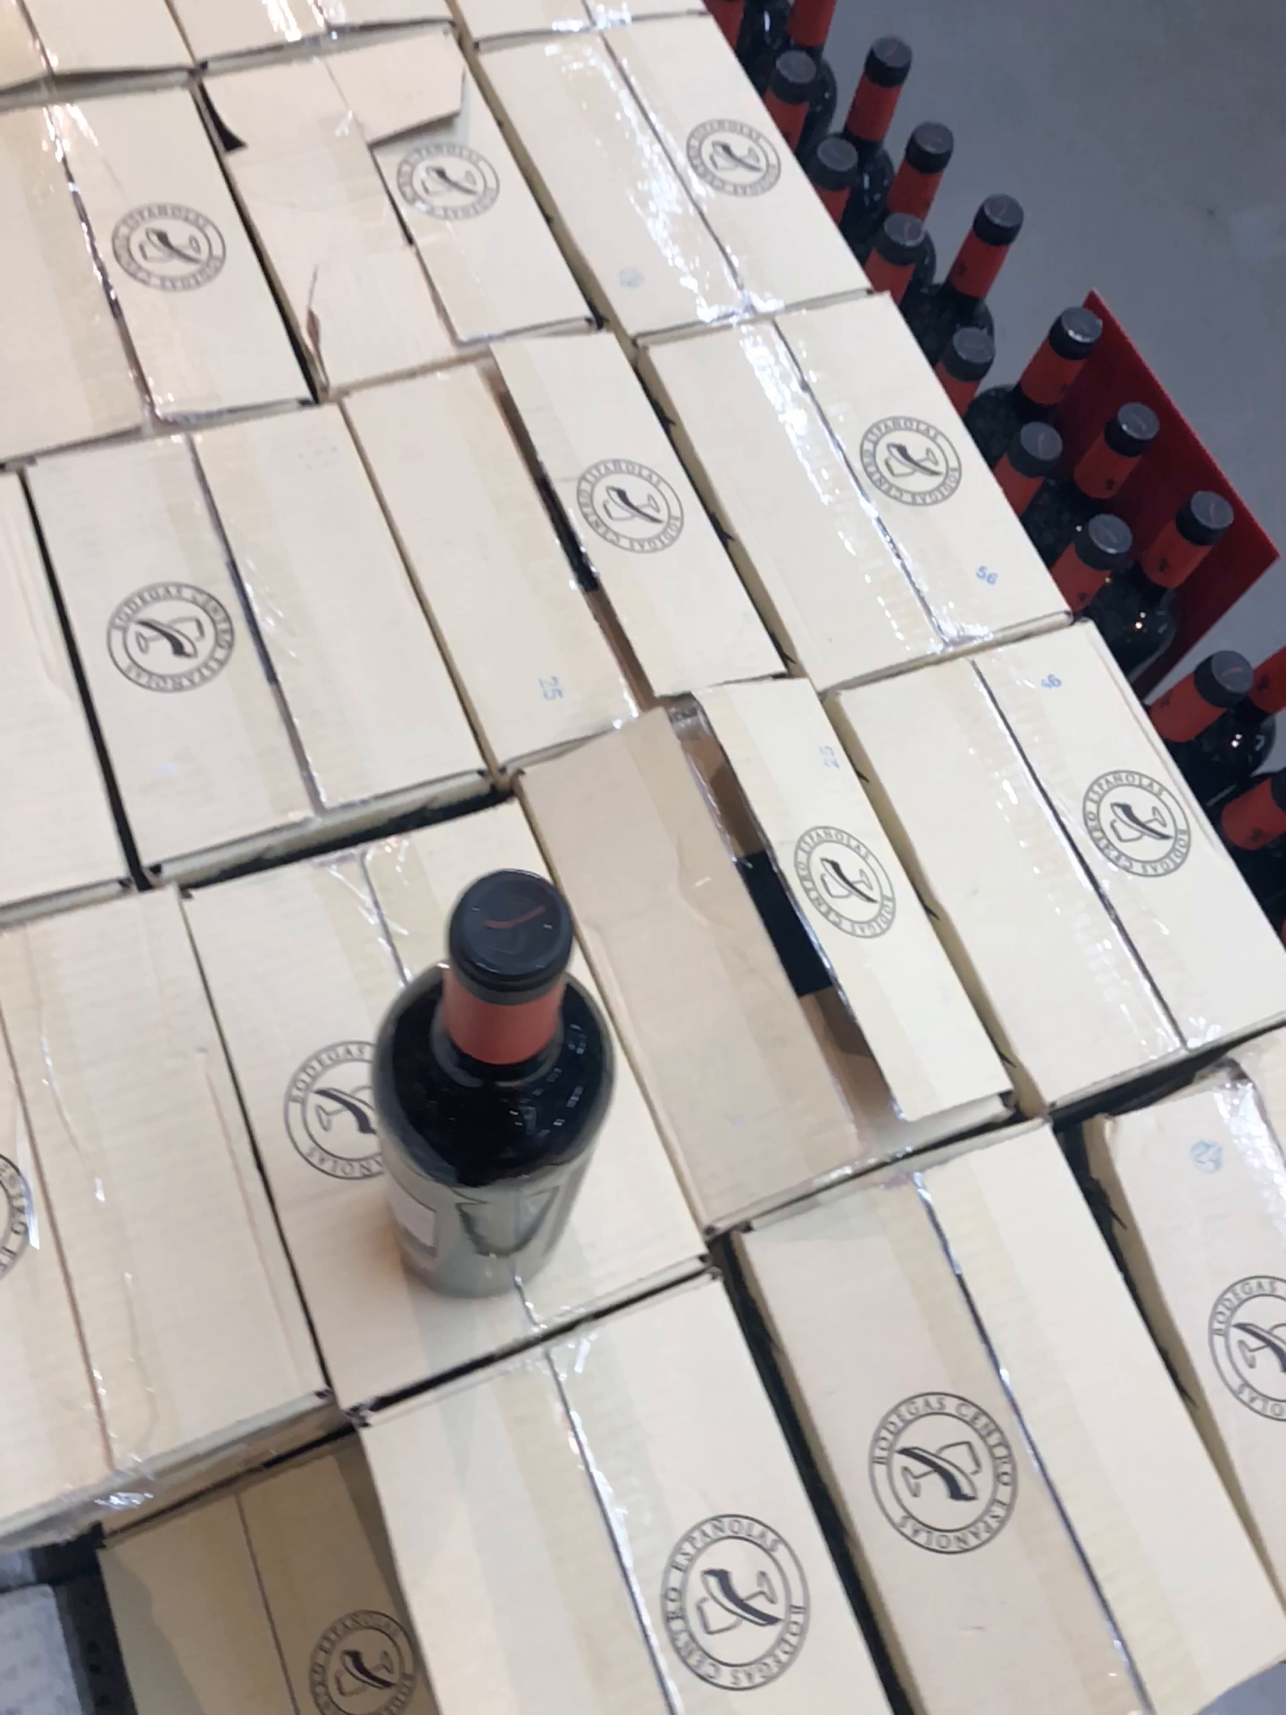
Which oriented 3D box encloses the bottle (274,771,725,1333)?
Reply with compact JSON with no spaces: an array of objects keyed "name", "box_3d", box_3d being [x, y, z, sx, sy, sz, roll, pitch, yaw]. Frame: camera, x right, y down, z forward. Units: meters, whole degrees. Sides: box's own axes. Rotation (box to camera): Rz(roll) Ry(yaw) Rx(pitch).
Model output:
[{"name":"bottle","box_3d":[-0.051,0.086,0.449,0.090,0.299,0.090,4,66,-8]}]
